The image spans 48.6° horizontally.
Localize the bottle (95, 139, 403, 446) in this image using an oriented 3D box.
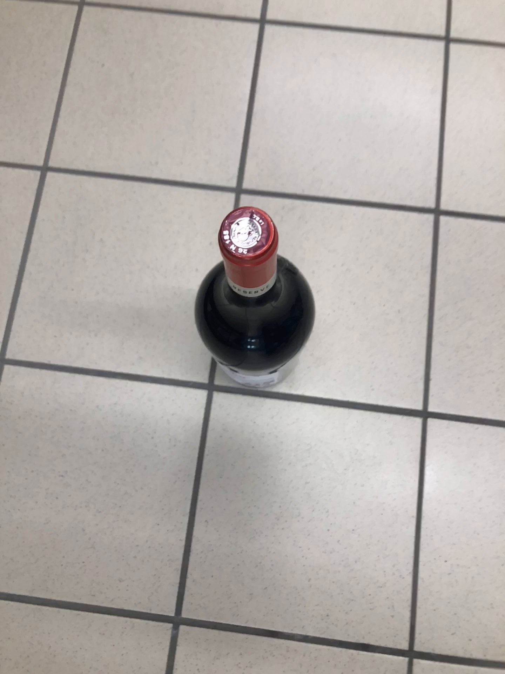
[{"bbox_3d":[0.002,0.000,0.396,0.110,0.270,0.100,0,77,1],"label":"bottle"}]
